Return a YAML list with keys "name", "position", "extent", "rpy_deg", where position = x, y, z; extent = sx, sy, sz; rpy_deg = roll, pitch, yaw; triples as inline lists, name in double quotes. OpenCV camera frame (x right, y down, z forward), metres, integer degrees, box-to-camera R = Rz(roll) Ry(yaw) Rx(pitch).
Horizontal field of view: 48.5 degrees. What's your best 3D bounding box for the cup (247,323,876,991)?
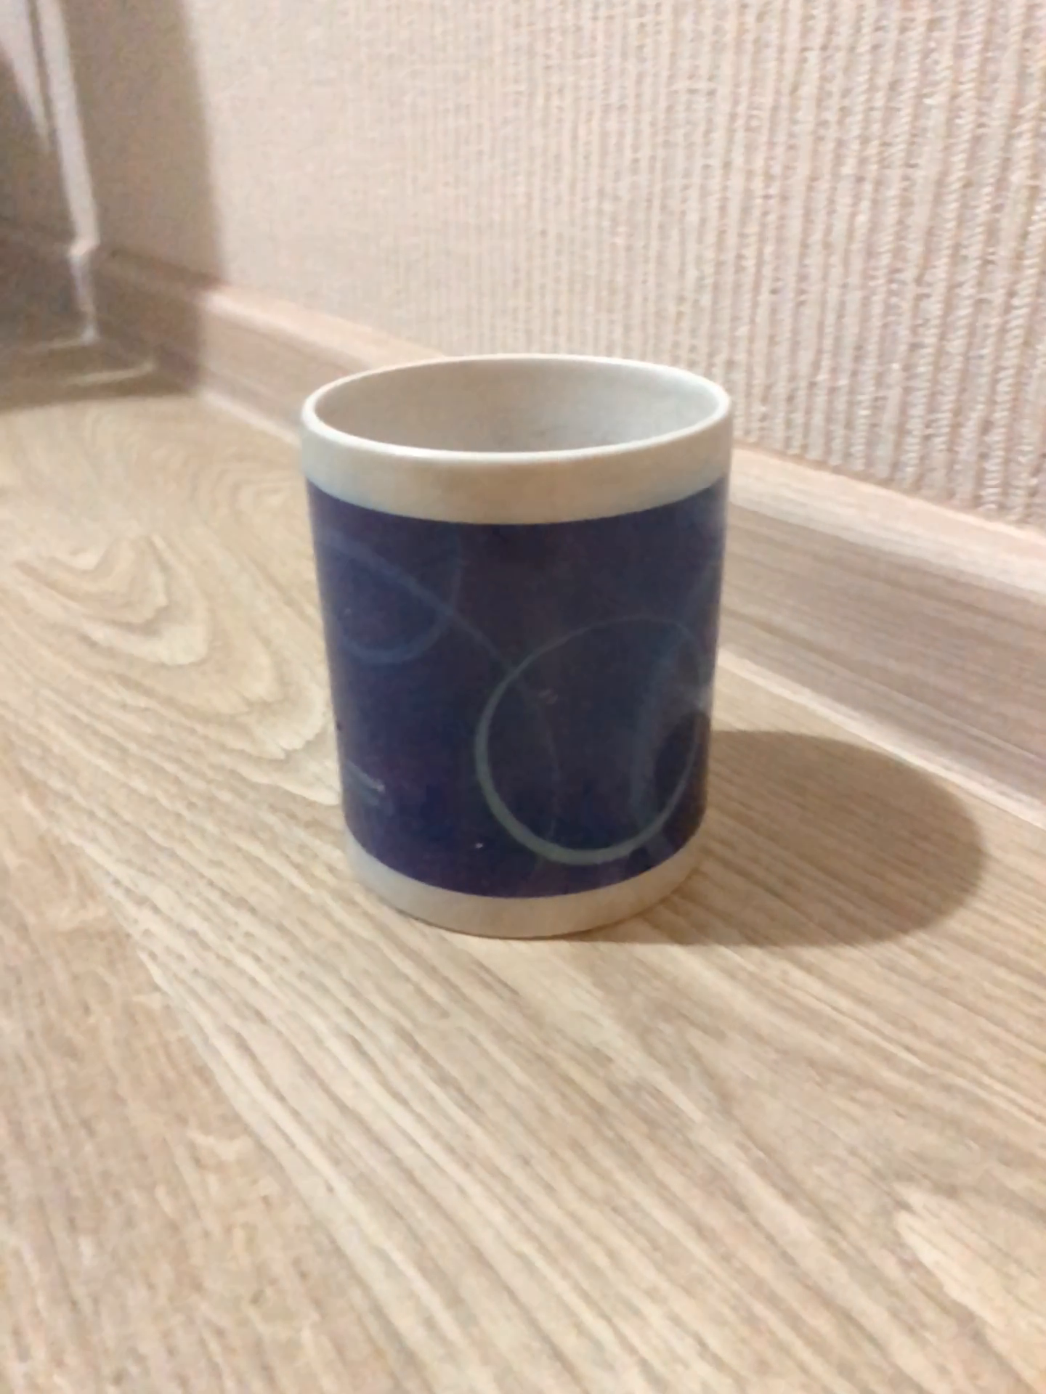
- name: "cup"
  position: [-0.002, -0.022, 0.264]
  extent: [0.093, 0.099, 0.123]
  rpy_deg: [-9, 28, -17]
